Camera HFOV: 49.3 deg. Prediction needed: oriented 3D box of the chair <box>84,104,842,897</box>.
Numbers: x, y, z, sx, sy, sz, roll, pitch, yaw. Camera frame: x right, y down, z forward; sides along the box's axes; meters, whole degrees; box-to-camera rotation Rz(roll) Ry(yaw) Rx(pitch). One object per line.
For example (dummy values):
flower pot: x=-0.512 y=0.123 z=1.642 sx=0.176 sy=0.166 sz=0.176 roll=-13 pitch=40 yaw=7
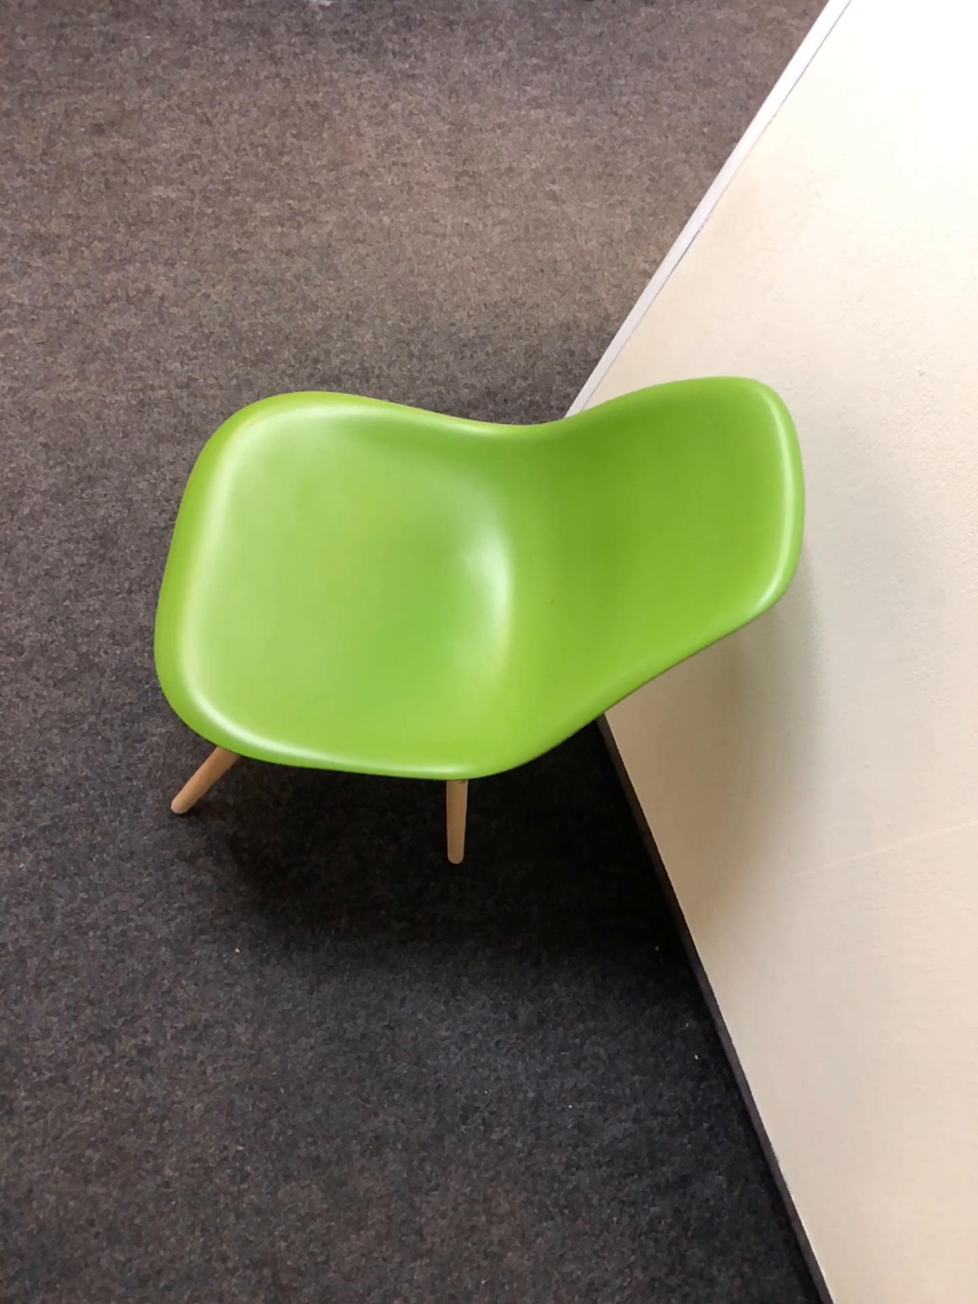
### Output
chair: x=-0.063 y=-0.064 z=1.197 sx=0.580 sy=0.707 sz=0.481 roll=13 pitch=67 yaw=-12
